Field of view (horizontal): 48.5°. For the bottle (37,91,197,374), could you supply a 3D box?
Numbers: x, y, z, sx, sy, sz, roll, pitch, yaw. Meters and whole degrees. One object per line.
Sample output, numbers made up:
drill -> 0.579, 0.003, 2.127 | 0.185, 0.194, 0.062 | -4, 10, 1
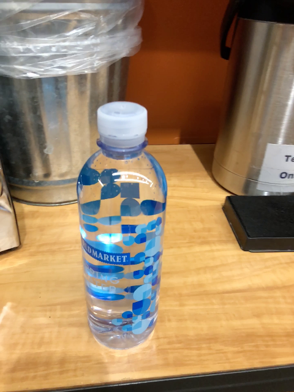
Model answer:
bottle -> -0.020, 0.033, 0.253 | 0.070, 0.199, 0.070 | 2, 32, -1
